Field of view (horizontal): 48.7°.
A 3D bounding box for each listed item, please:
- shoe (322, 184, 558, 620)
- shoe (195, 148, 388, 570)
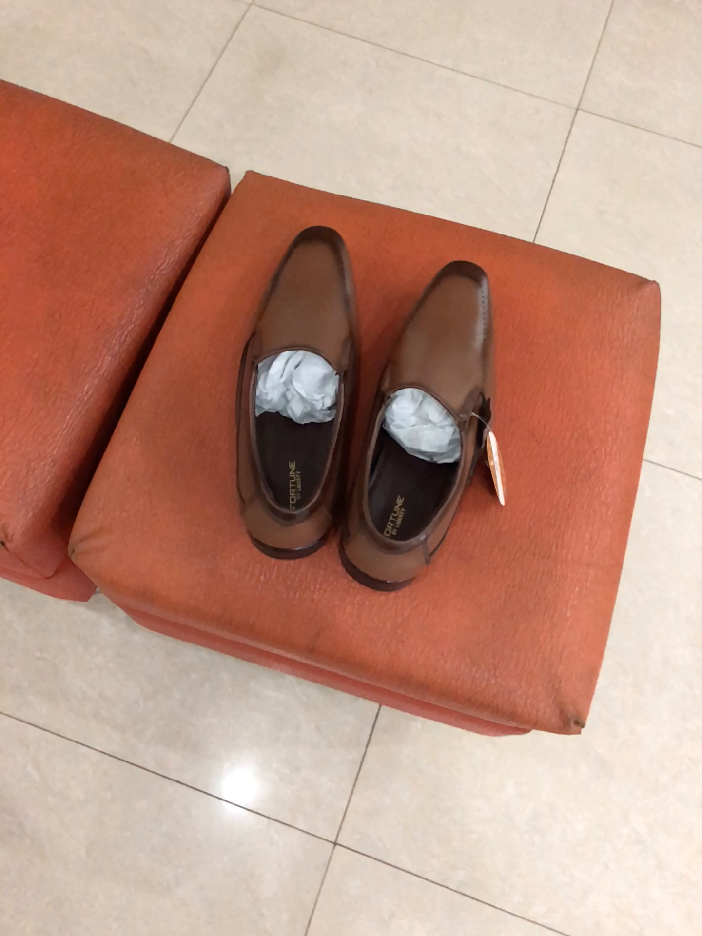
[{"bbox_3d":[0.067,-0.050,0.594,0.099,0.128,0.293,15,68,2],"label":"shoe"},{"bbox_3d":[-0.038,-0.084,0.591,0.101,0.108,0.295,6,68,-1],"label":"shoe"}]
